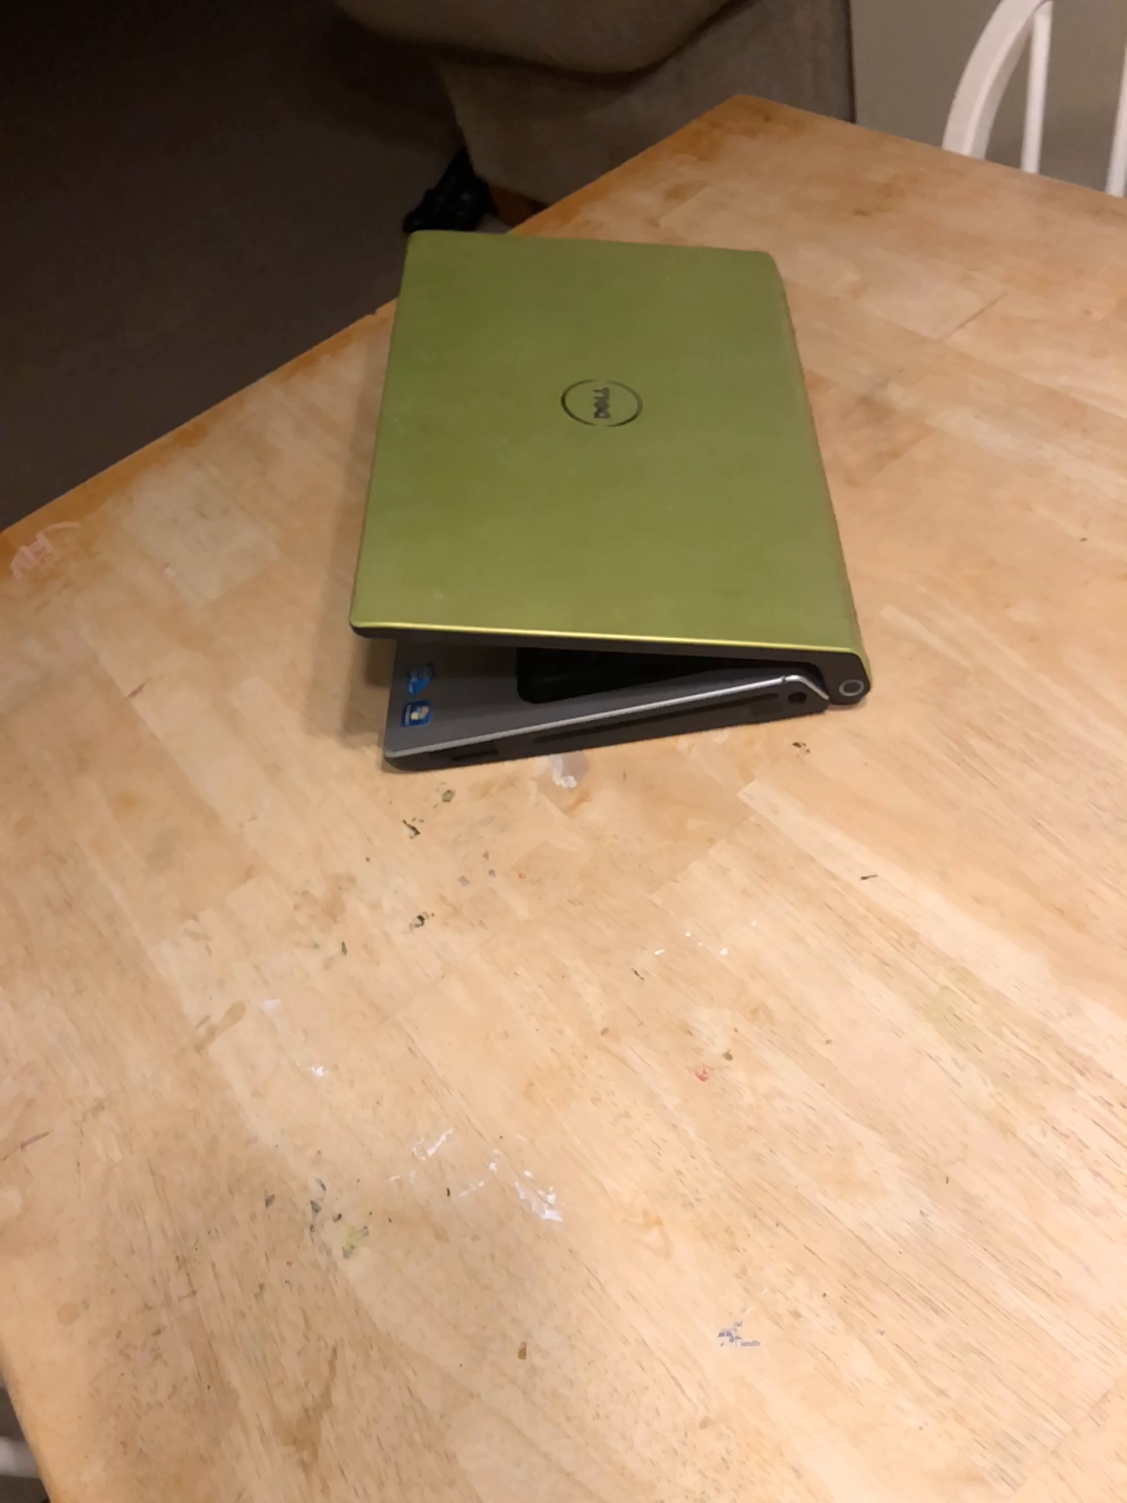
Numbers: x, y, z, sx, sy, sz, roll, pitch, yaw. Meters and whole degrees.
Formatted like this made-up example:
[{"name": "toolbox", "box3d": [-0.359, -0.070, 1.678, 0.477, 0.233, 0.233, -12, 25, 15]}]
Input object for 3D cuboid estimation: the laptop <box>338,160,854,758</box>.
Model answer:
[{"name": "laptop", "box3d": [0.020, -0.177, 0.684, 0.227, 0.076, 0.360, -10, 48, 12]}]
